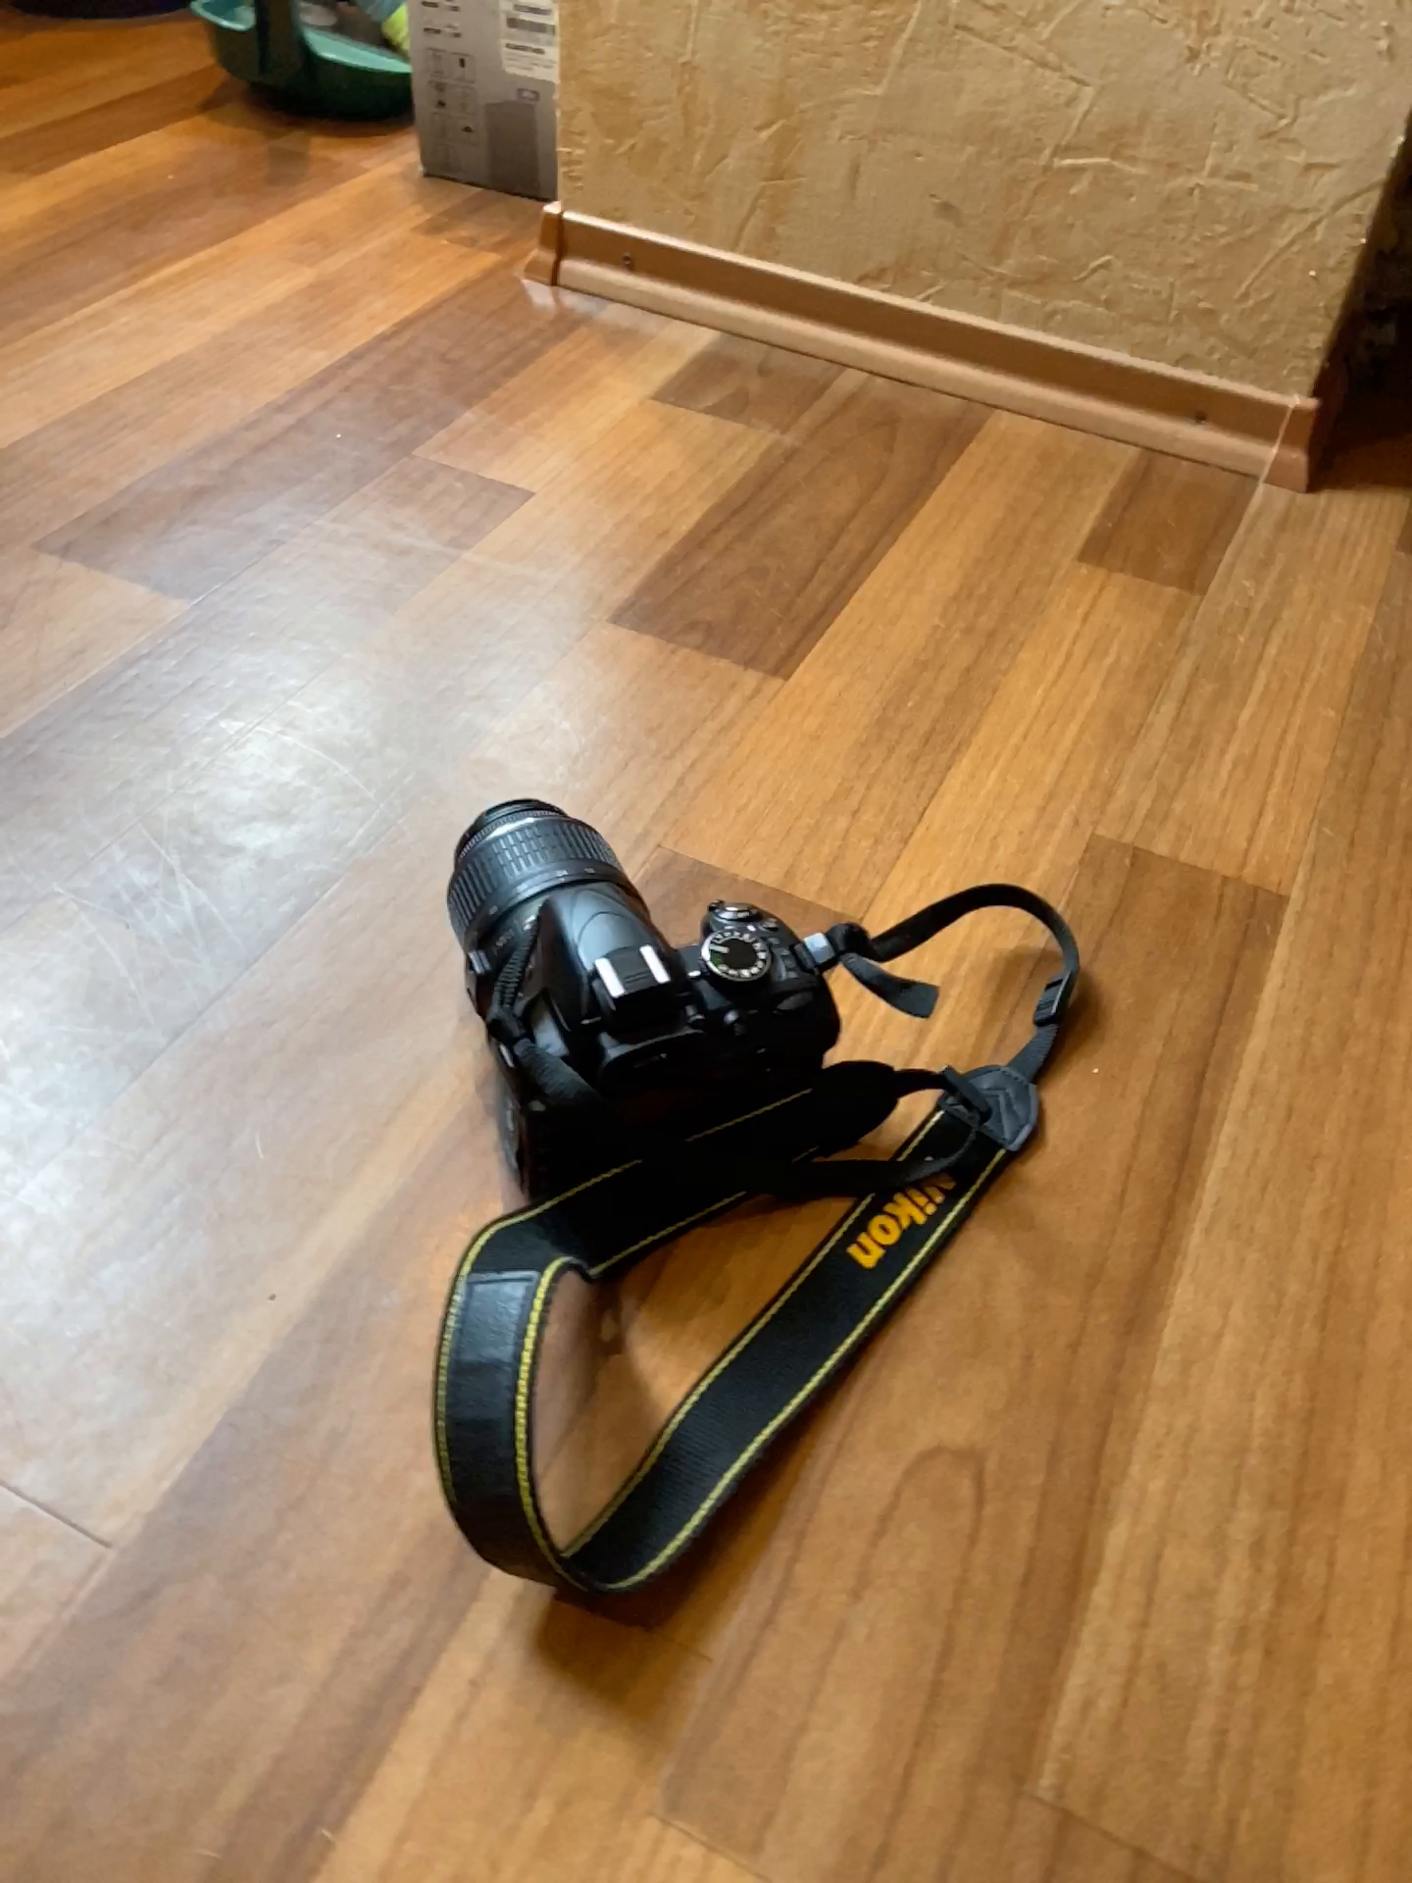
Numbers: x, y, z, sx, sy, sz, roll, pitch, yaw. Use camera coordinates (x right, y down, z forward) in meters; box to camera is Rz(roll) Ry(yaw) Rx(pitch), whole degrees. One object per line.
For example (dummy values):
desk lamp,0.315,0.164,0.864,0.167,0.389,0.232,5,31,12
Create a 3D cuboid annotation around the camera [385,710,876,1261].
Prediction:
camera,-0.034,0.010,0.541,0.120,0.100,0.154,-17,49,-20
